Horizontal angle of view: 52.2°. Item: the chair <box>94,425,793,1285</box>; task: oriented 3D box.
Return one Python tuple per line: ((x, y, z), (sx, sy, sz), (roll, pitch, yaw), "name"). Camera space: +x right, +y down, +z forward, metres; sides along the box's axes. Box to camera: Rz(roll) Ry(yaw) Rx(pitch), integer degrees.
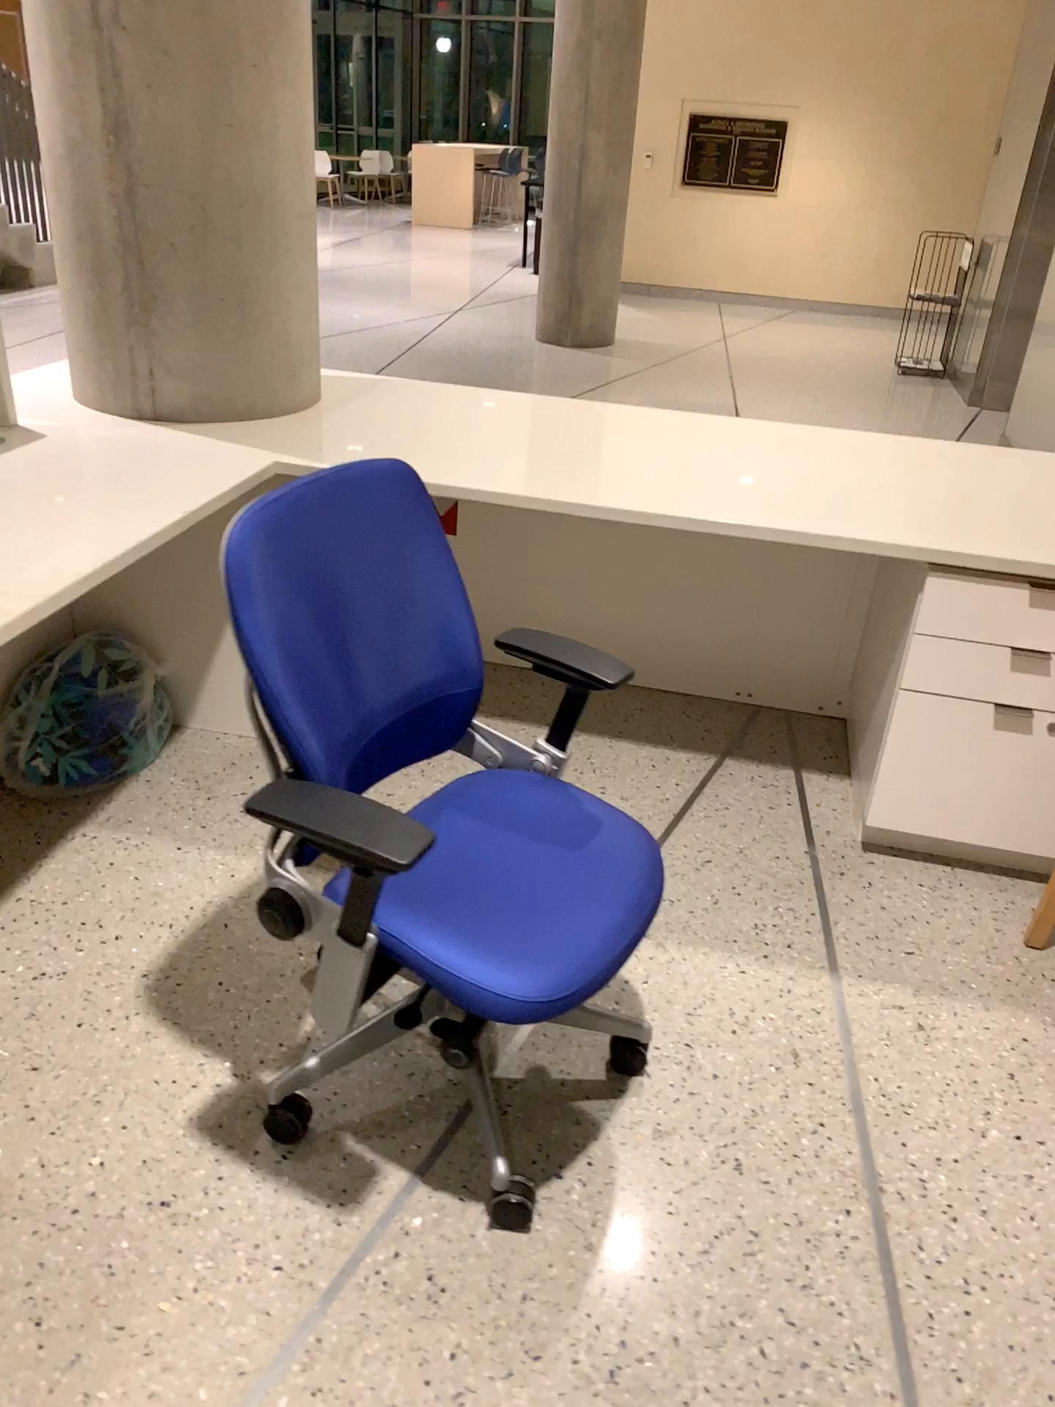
((-0.087, 0.147, 1.600), (0.648, 0.880, 0.690), (16, 30, 22), "chair")
